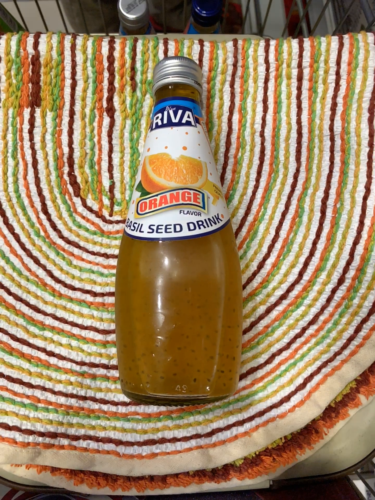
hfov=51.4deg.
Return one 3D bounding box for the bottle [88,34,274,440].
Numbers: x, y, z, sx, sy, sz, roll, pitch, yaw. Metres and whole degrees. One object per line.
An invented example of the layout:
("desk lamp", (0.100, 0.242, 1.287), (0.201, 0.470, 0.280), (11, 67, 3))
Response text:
("bottle", (-0.002, -0.004, 0.179), (0.070, 0.050, 0.160), (-1, 95, -1))
